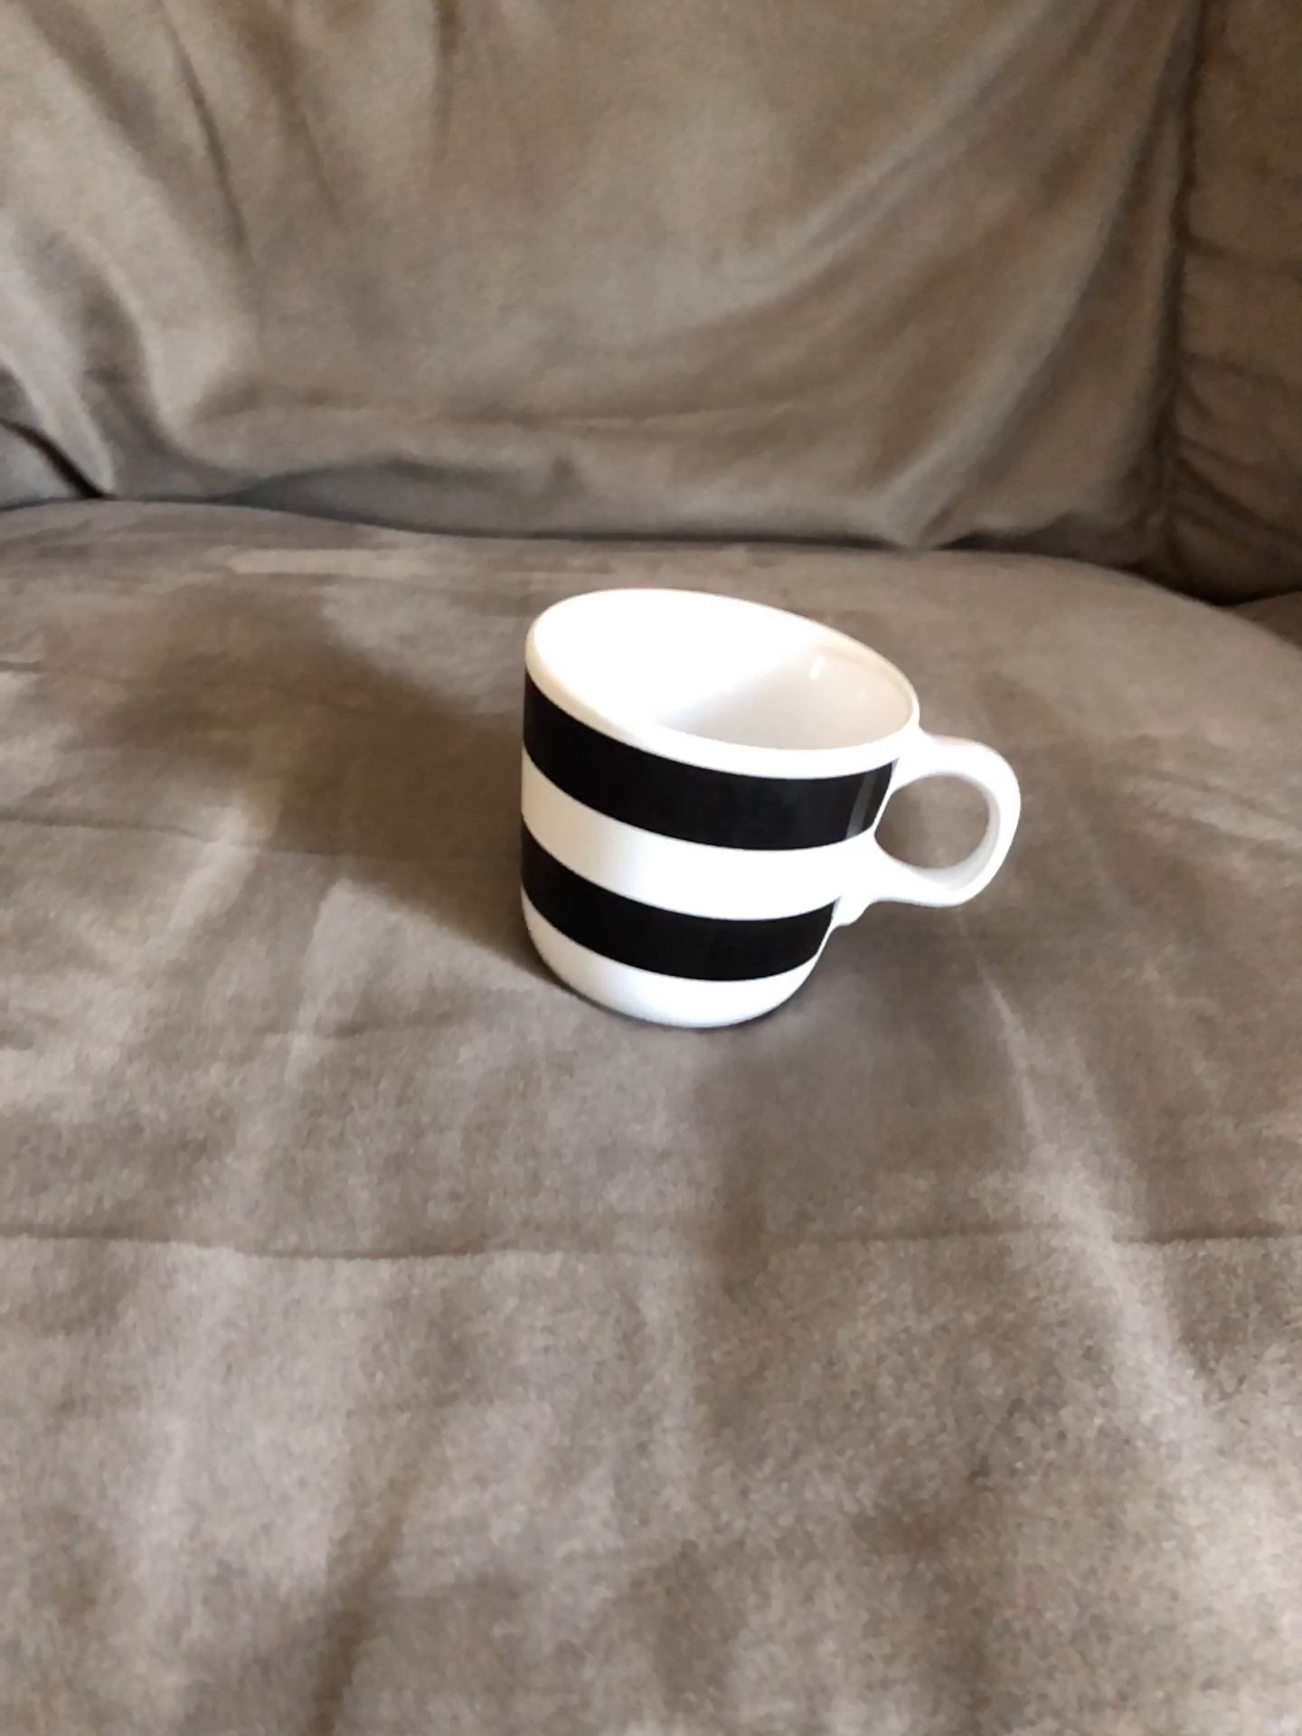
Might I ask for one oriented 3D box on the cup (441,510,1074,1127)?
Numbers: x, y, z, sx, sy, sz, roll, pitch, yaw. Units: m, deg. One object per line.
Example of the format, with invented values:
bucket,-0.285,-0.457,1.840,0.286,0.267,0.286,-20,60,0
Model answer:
cup,0.024,-0.015,0.314,0.110,0.080,0.080,16,32,8
